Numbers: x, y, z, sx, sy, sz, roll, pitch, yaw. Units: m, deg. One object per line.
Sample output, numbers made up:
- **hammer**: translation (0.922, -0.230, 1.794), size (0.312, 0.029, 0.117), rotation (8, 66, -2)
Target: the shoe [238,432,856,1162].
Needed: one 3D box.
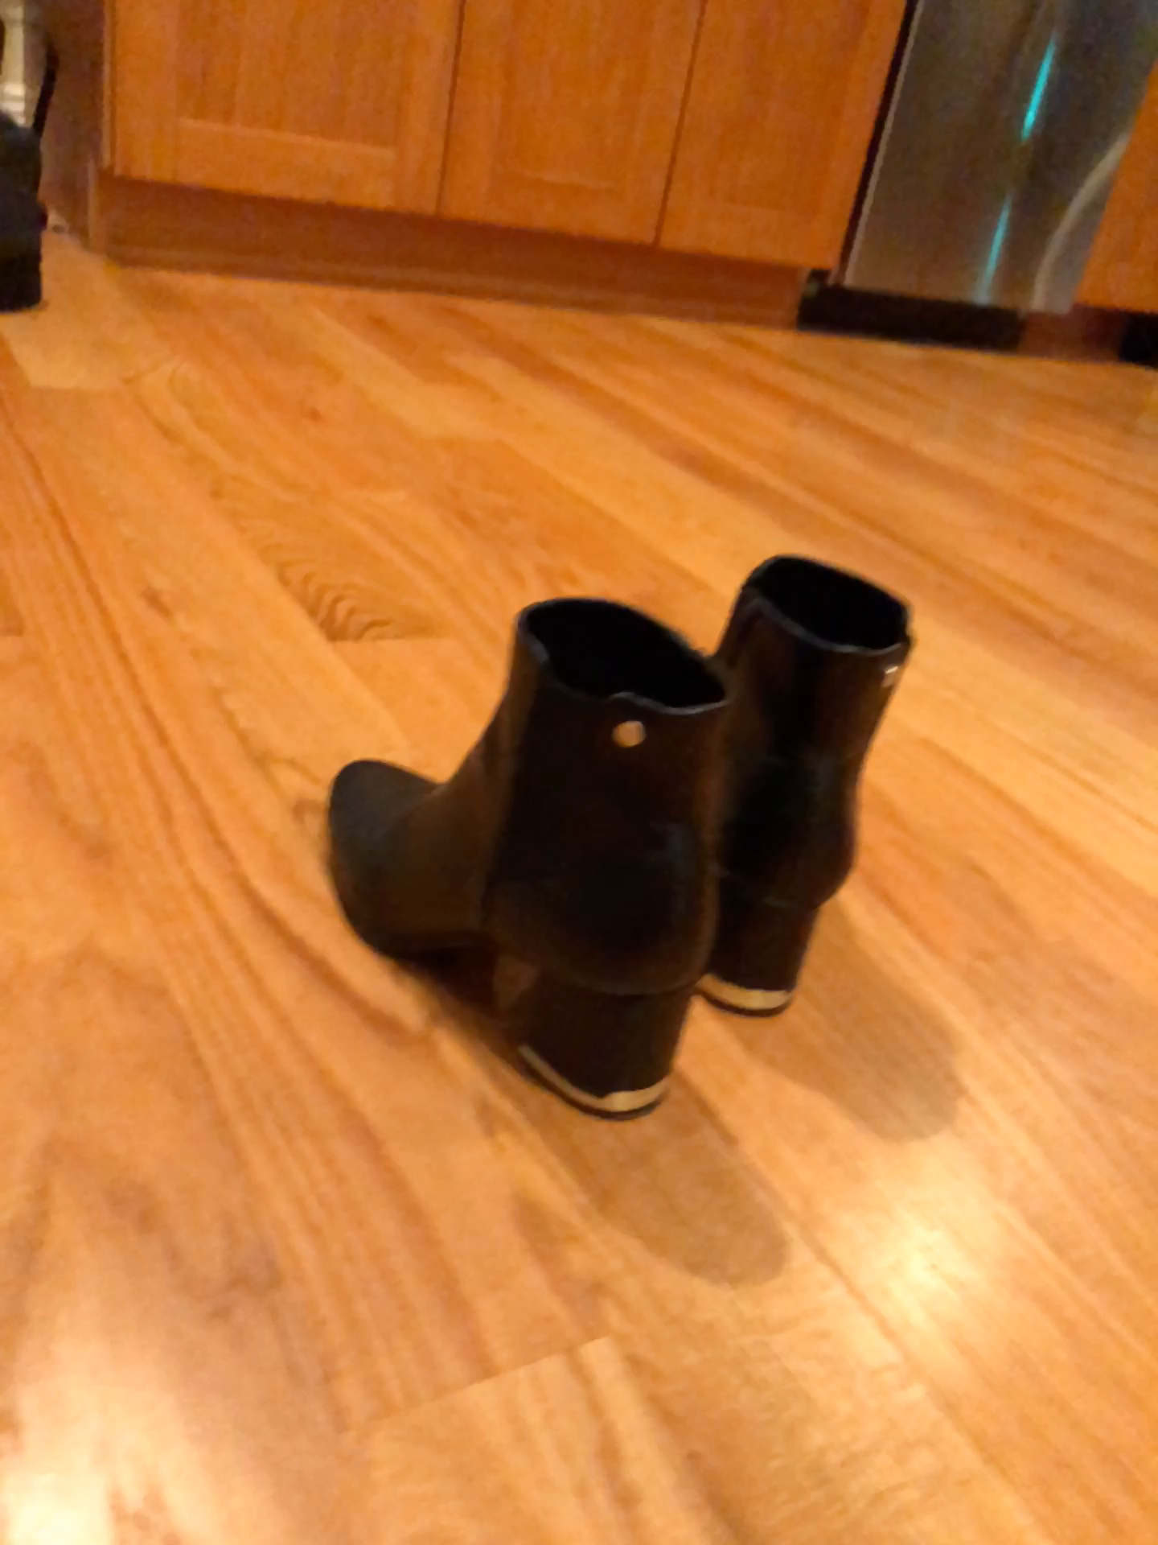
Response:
- **shoe**: translation (-0.034, -0.009, 0.494), size (0.095, 0.175, 0.237), rotation (-10, 34, -36)

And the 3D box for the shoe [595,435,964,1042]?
- **shoe**: translation (0.082, -0.031, 0.579), size (0.095, 0.175, 0.237), rotation (12, 27, 1)
